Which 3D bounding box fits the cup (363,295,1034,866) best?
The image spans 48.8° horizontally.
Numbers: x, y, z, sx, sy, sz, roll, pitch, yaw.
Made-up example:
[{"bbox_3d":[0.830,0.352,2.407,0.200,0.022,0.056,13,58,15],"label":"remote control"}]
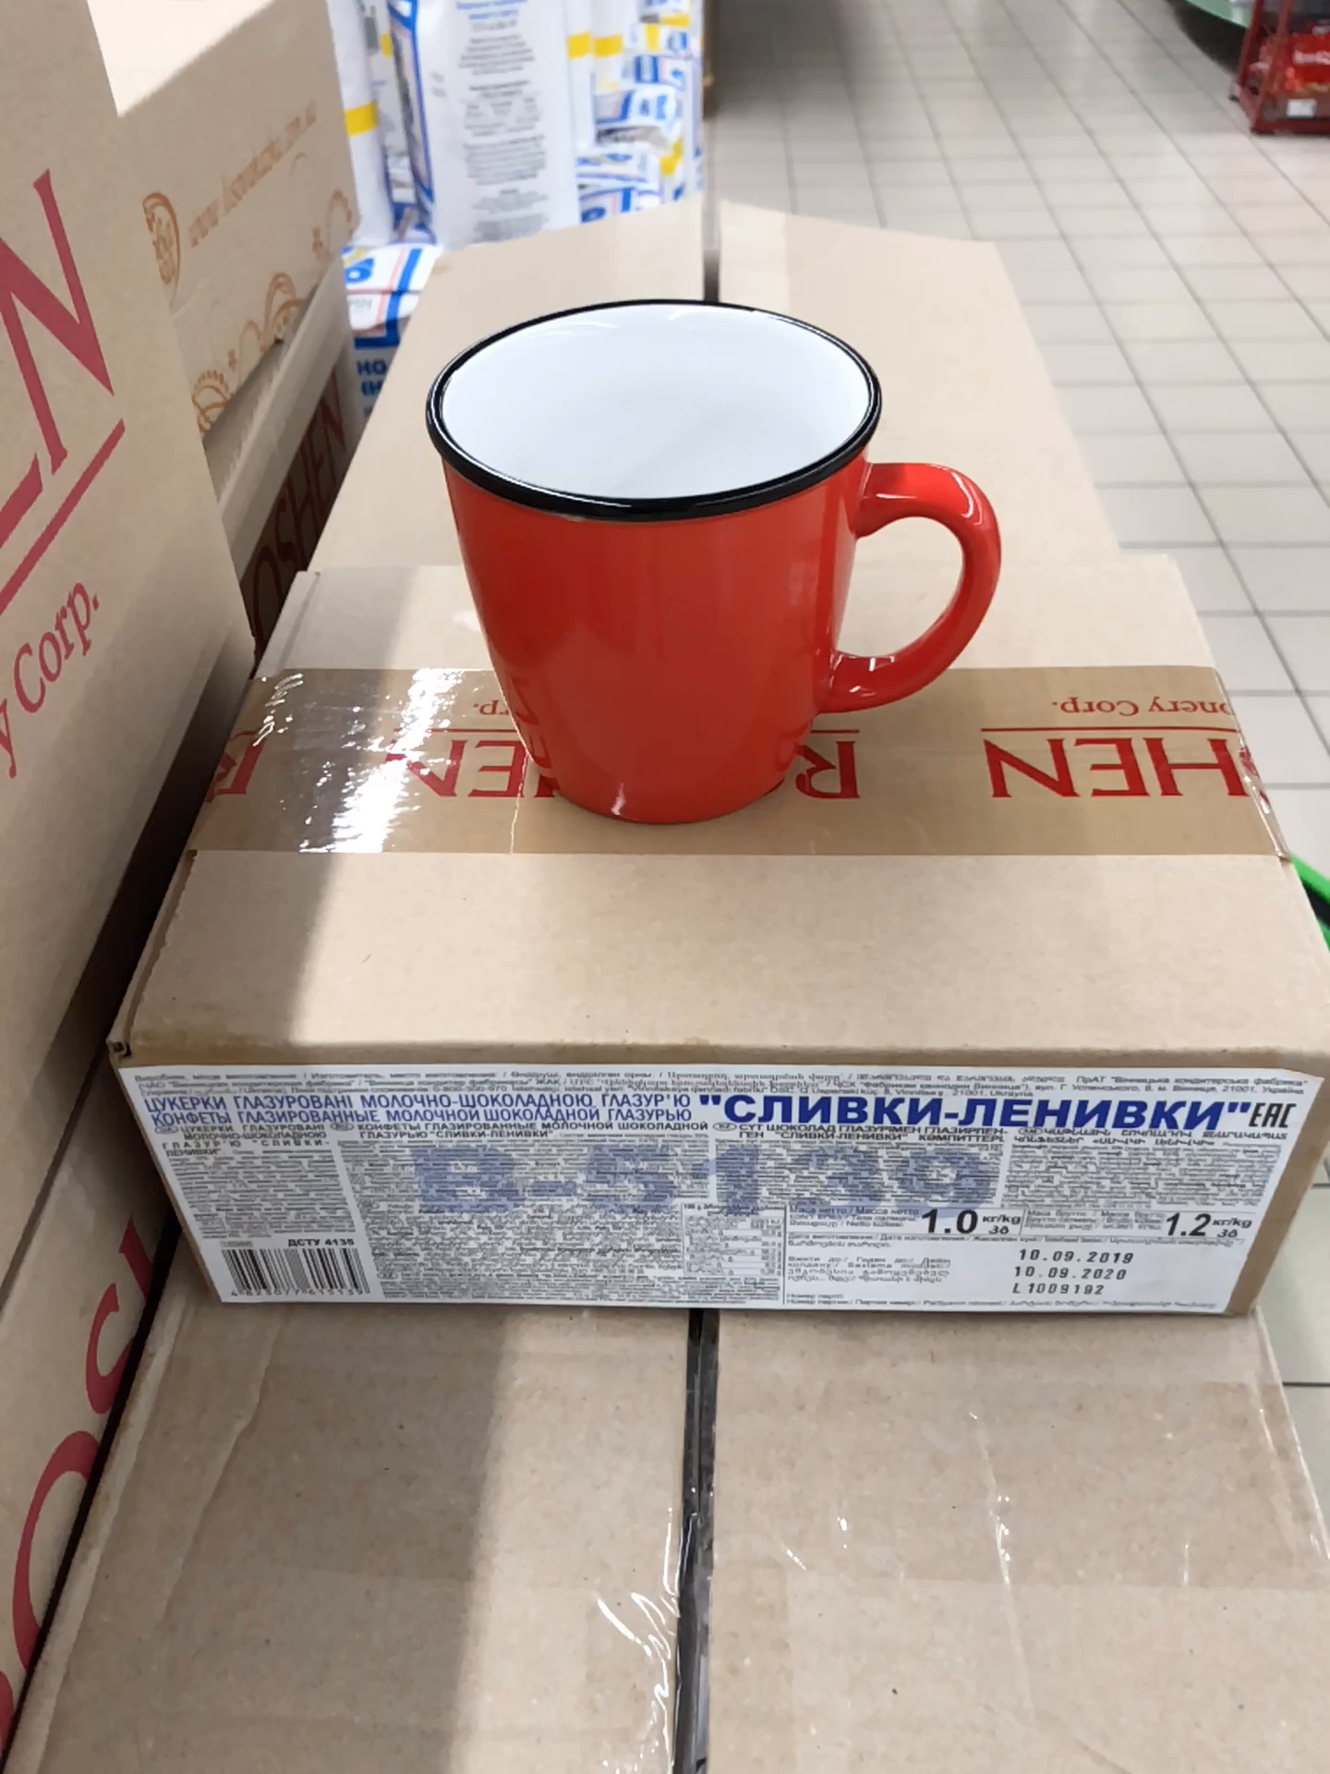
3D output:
[{"bbox_3d":[0.012,-0.074,0.341,0.127,0.089,0.097,3,42,6],"label":"cup"}]
